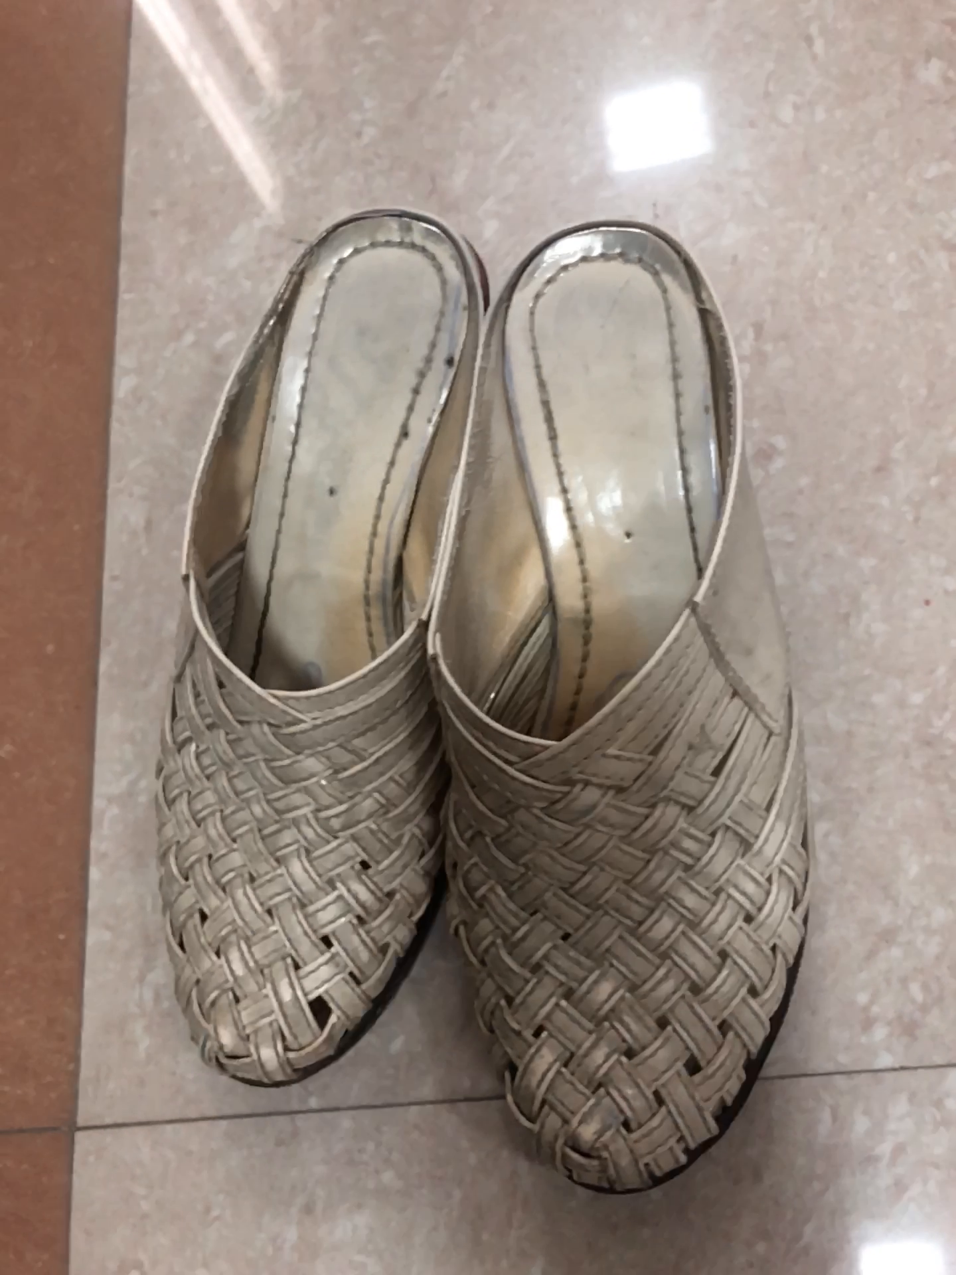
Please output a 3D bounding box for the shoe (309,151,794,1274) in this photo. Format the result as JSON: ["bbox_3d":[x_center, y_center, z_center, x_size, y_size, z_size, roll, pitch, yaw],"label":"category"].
[{"bbox_3d":[0.030,0.015,0.270,0.090,0.080,0.240,-1,75,20],"label":"shoe"}]

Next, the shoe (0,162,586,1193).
[{"bbox_3d":[-0.045,0.002,0.293,0.090,0.080,0.240,8,77,20],"label":"shoe"}]
